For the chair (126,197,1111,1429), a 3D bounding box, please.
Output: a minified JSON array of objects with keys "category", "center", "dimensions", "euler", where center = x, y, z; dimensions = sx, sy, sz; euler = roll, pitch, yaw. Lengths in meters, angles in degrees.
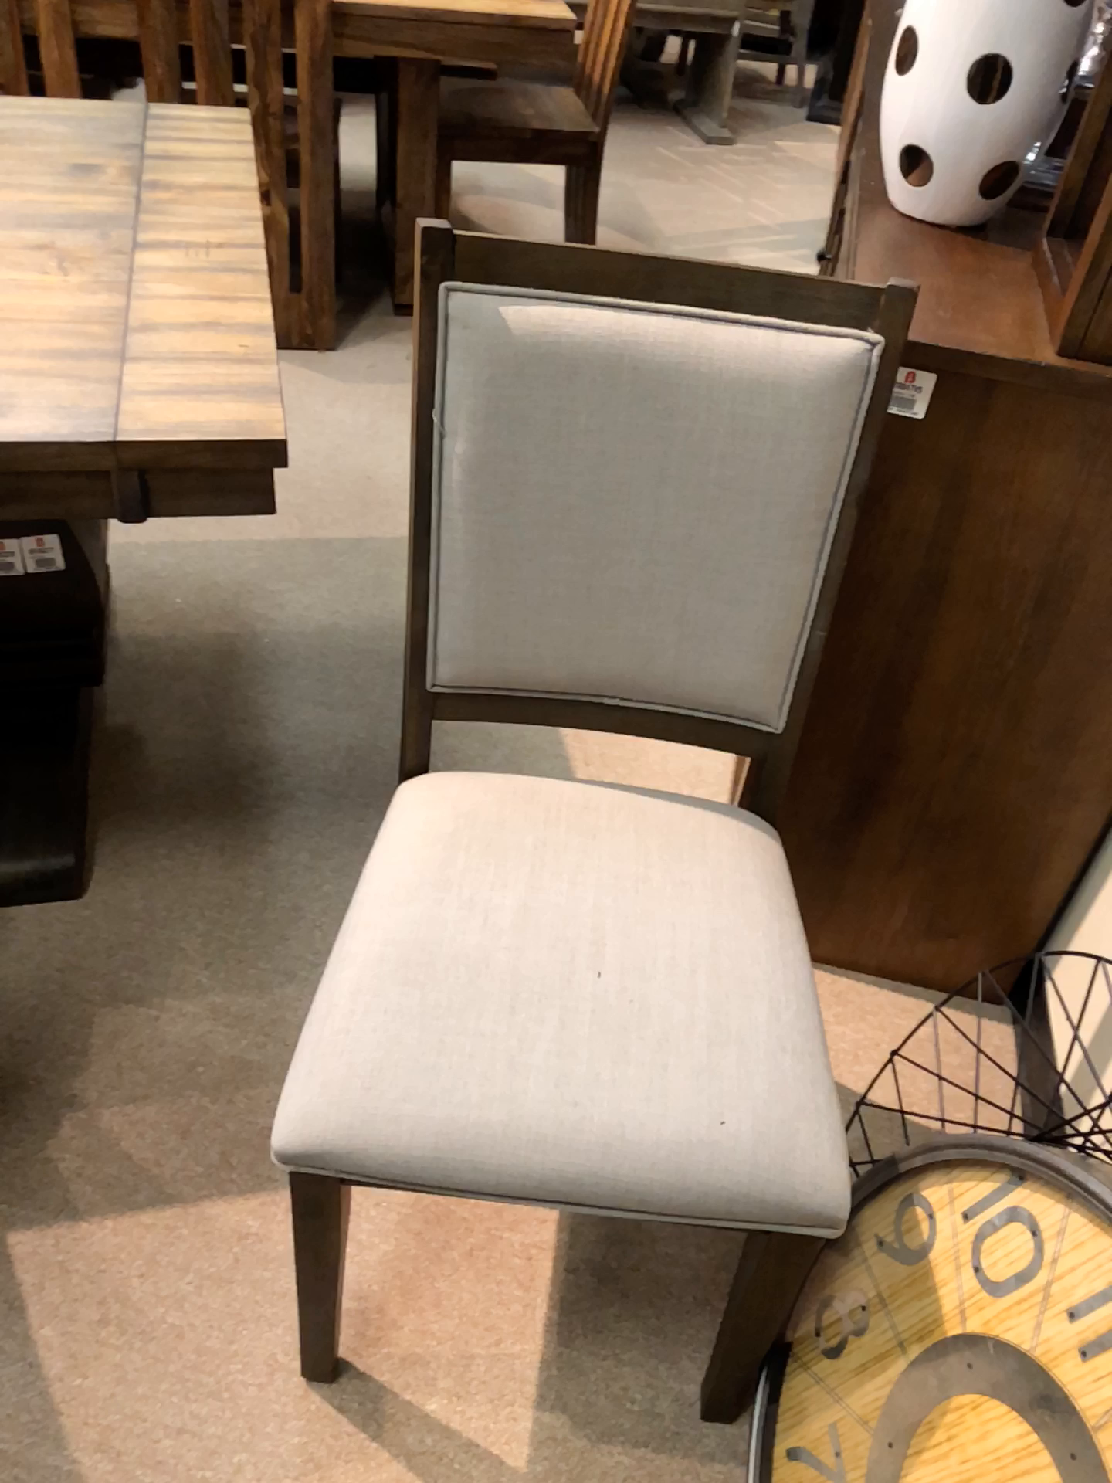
[{"category":"chair","center":[0.003,0.119,1.042],"dimensions":[0.460,0.924,0.493],"euler":[7,40,-1]}]
